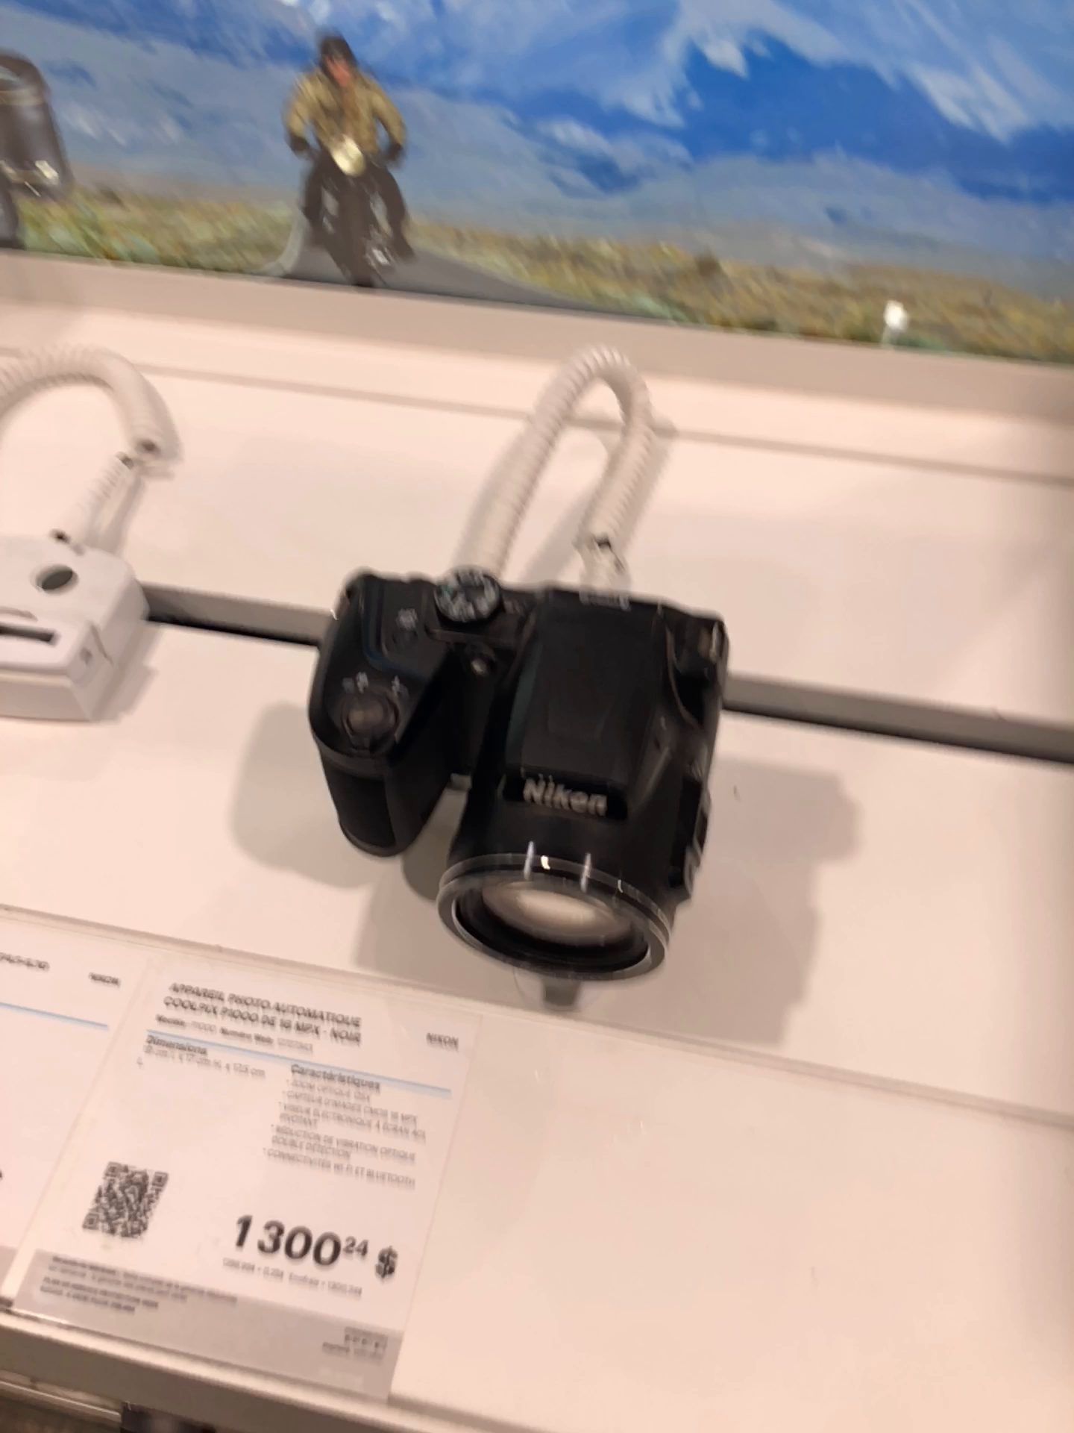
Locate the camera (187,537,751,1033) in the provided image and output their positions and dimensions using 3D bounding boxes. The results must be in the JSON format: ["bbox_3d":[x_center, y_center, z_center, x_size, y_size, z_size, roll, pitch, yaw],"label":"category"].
[{"bbox_3d":[-0.011,0.016,0.309,0.117,0.067,0.092,8,52,8],"label":"camera"}]
